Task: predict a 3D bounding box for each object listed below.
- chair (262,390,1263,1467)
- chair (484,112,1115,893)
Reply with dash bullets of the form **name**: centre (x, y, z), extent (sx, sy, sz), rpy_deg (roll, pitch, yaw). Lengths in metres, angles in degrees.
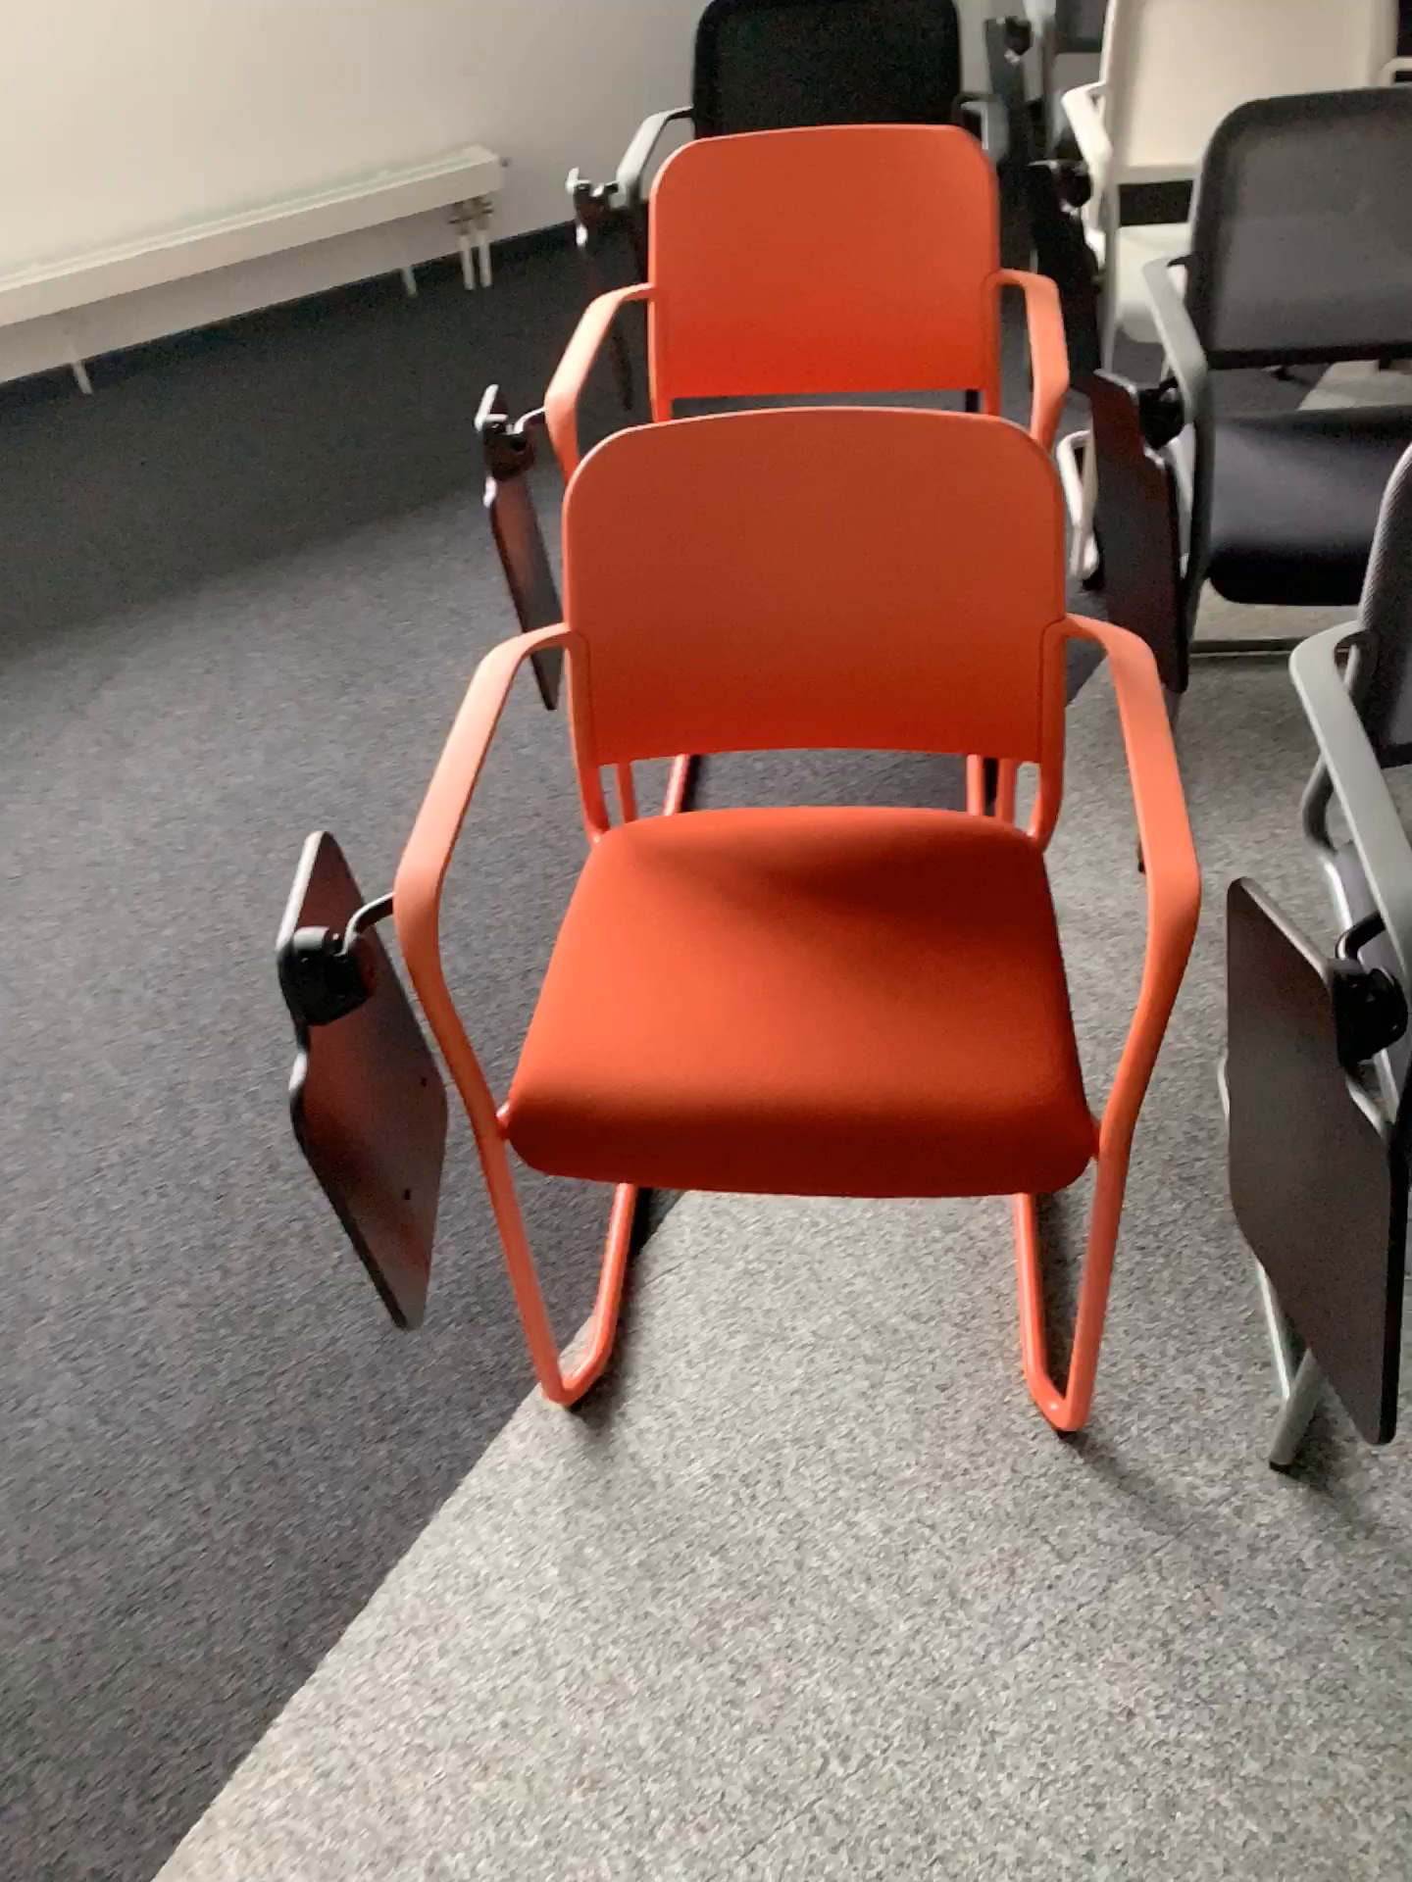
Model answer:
- **chair**: centre (0.081, 0.013, 1.296), extent (0.580, 0.766, 0.563), rpy_deg (0, 45, 8)
- **chair**: centre (0.145, -0.546, 1.868), extent (0.610, 0.756, 0.603), rpy_deg (0, 44, 8)
